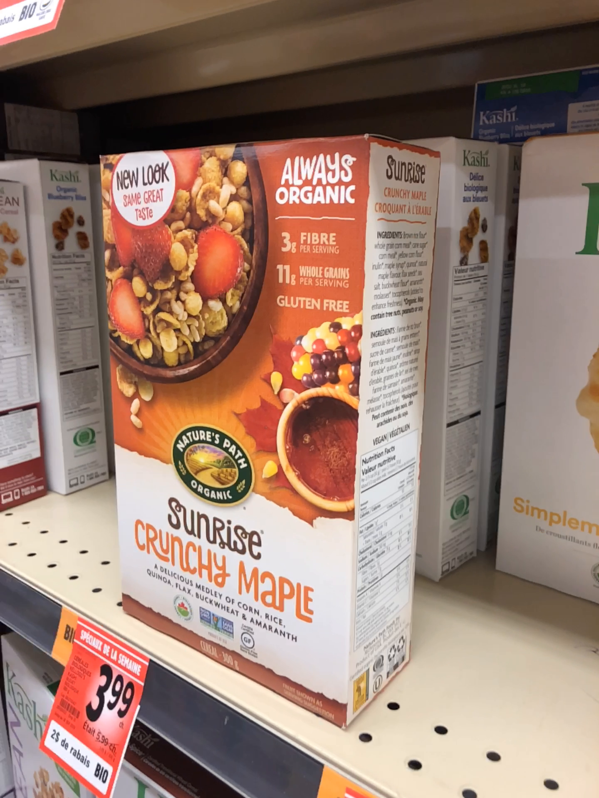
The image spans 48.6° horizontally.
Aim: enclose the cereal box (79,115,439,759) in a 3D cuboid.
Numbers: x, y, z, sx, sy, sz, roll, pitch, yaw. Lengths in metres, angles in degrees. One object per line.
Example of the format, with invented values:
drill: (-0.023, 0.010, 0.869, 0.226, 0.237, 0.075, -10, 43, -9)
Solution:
cereal box: (-0.028, 0.011, 0.340, 0.170, 0.269, 0.060, 11, 17, 37)
